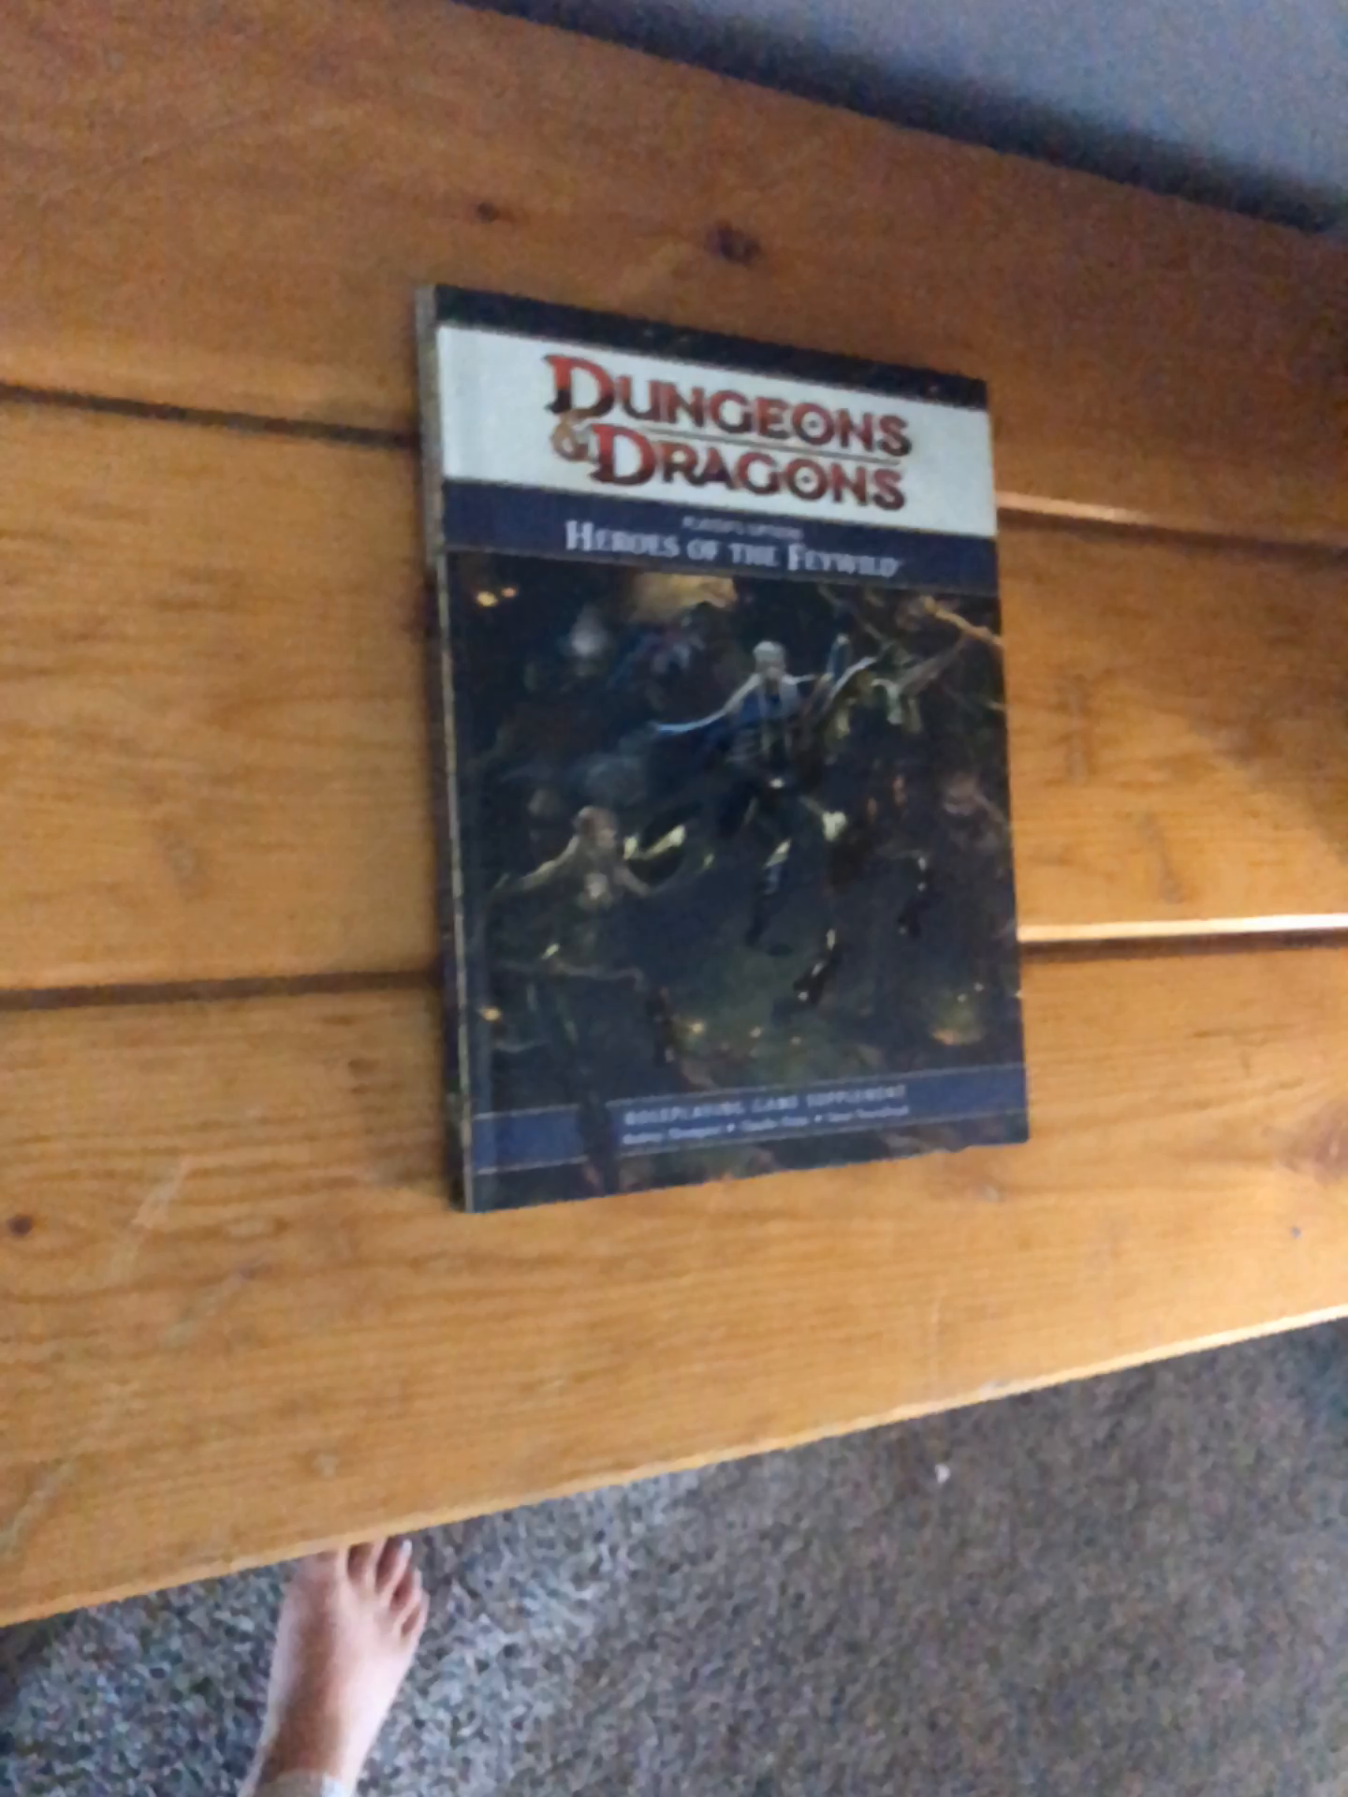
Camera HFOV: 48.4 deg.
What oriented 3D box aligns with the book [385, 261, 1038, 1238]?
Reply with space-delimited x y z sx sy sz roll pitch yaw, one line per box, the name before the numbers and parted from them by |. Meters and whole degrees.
book | 0.021 -0.045 0.489 0.221 0.020 0.280 -1 89 -27
